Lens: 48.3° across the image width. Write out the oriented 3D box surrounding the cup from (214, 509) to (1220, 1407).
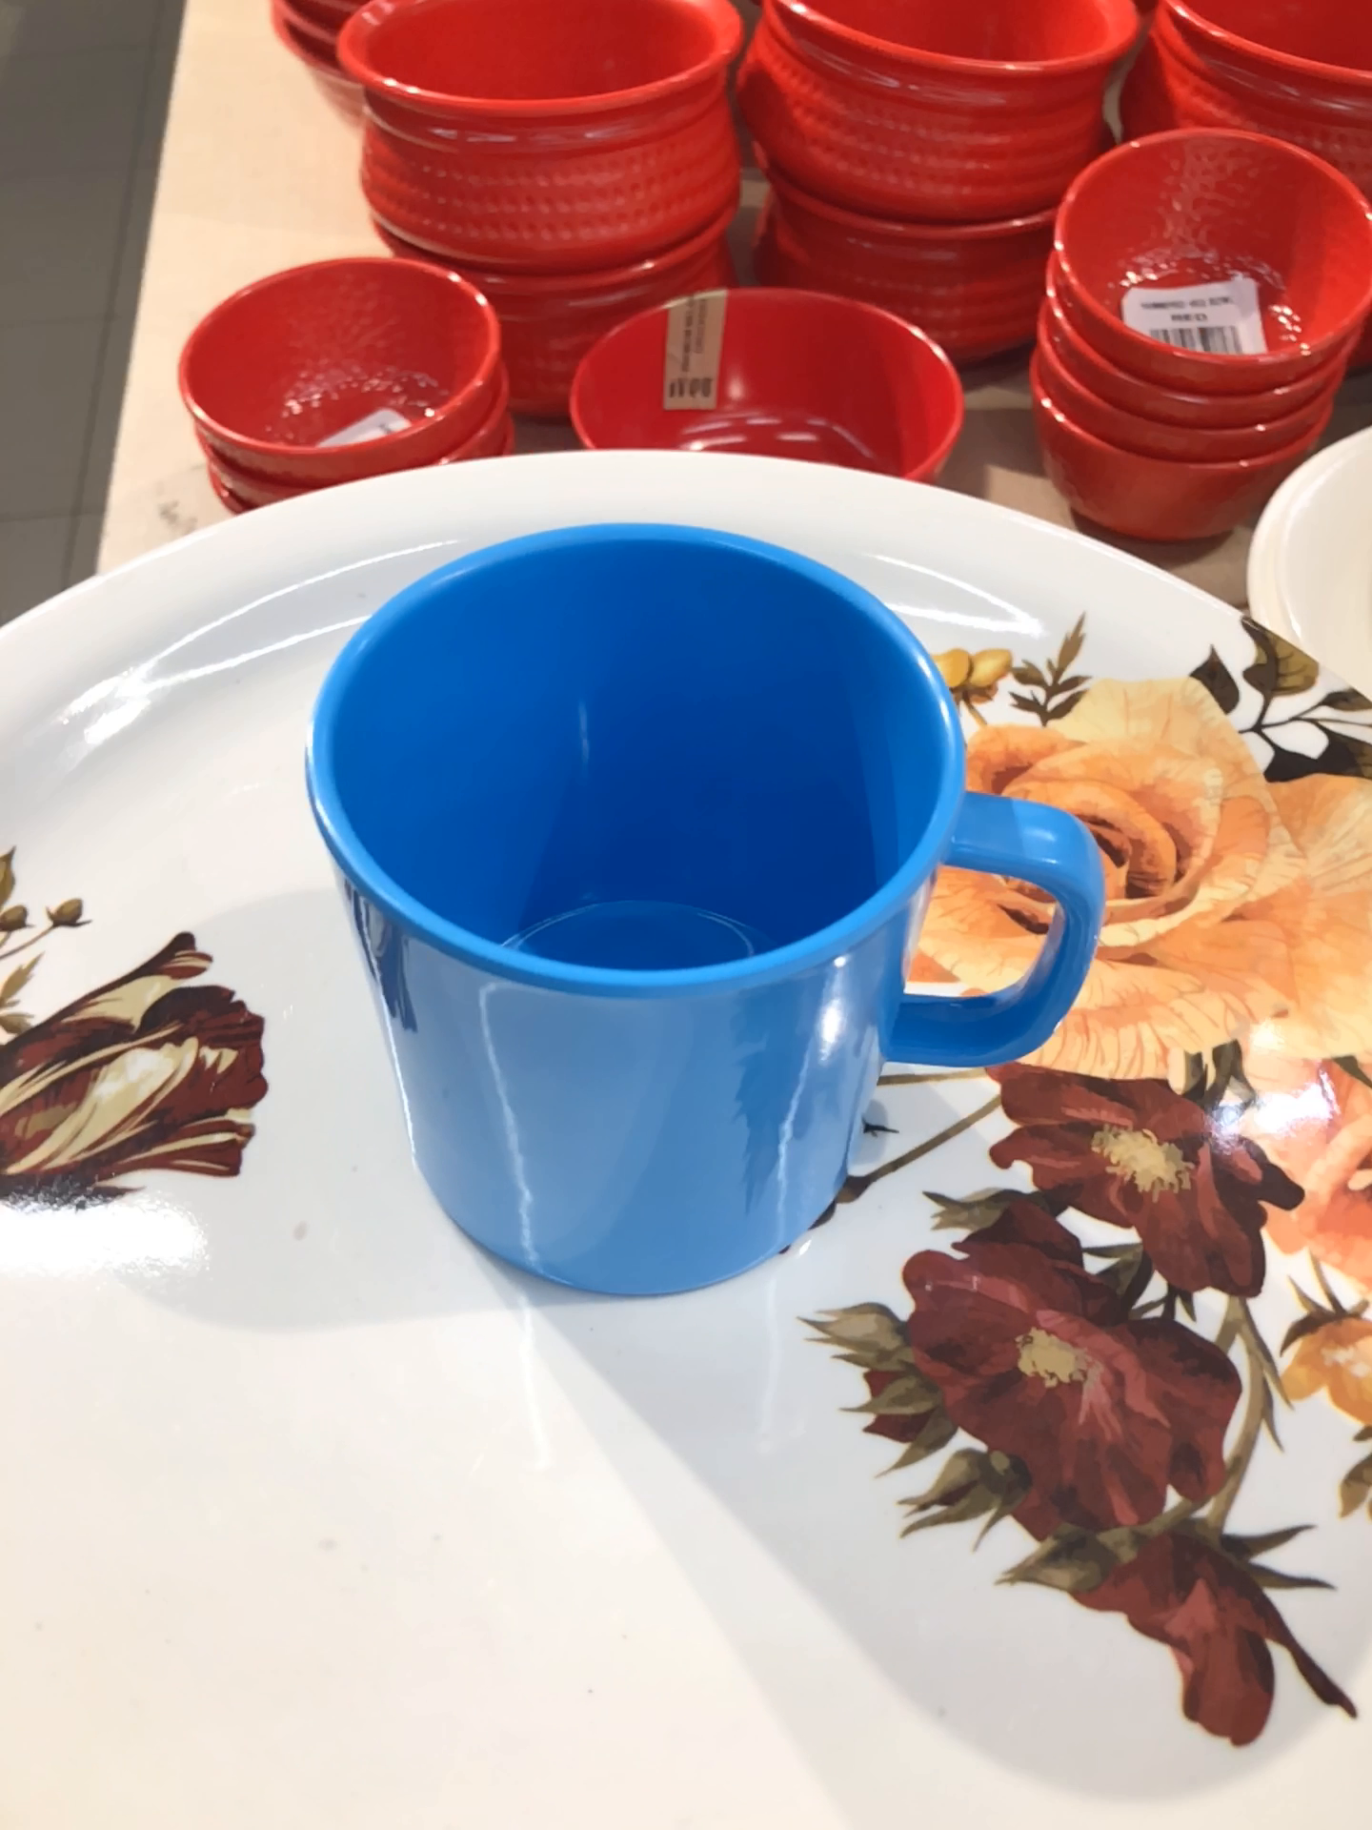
[{"bbox_3d":[0.009,0.007,0.224,0.110,0.090,0.080,8,52,7],"label":"cup"}]
